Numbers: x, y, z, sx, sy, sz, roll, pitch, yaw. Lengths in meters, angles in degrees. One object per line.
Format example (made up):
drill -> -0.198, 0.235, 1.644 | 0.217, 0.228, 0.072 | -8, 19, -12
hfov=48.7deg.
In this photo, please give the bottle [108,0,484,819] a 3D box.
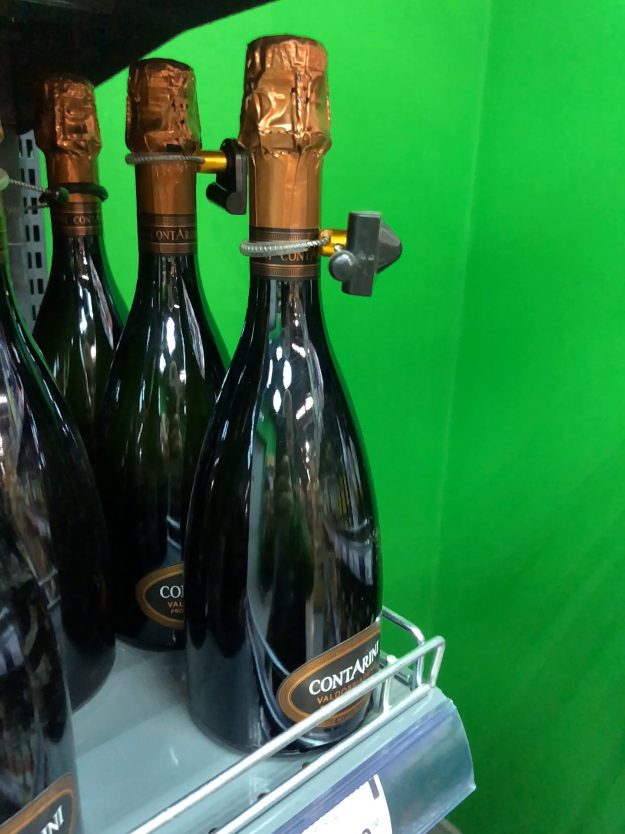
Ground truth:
bottle -> -0.010, -0.002, 0.303 | 0.100, 0.299, 0.100 | 2, 17, 0
